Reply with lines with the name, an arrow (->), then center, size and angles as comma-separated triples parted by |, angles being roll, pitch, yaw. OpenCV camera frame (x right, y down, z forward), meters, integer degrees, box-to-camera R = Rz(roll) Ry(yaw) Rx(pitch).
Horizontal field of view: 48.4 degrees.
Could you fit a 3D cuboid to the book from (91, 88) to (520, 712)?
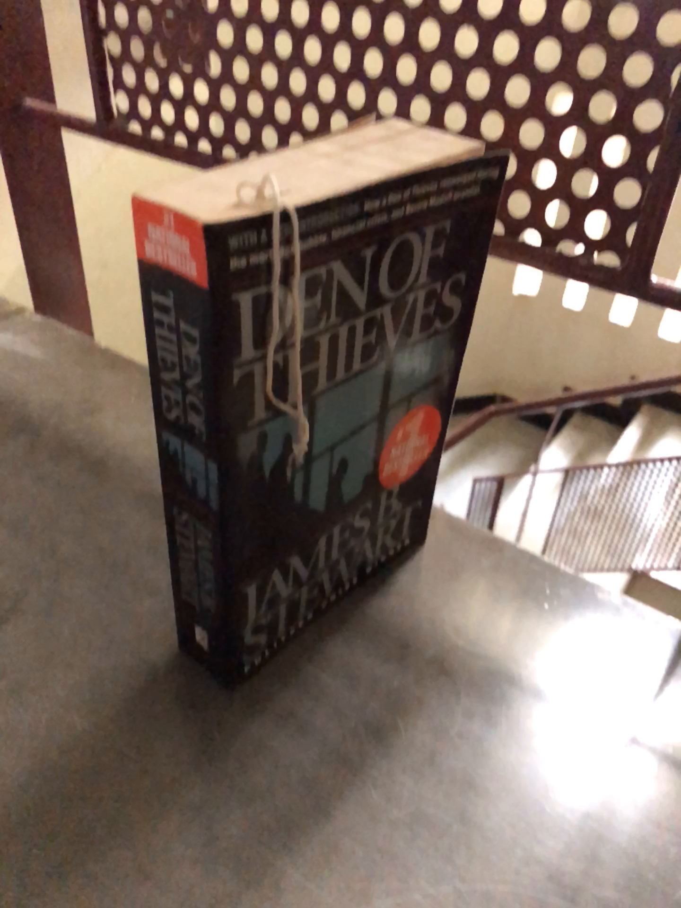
book -> -0.006, -0.024, 0.329 | 0.050, 0.219, 0.171 | 28, 43, 28
